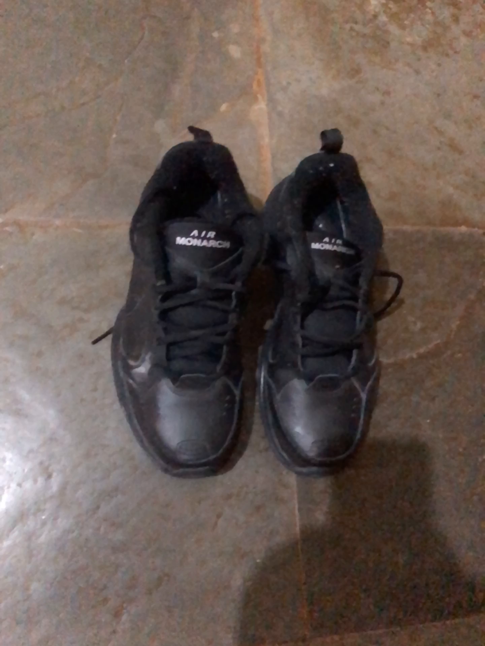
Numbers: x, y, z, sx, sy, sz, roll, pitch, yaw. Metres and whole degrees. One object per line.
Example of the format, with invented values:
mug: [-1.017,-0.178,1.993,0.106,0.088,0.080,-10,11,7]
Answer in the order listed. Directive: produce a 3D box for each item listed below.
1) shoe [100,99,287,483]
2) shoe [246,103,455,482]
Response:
shoe: [-0.047,-0.021,0.433,0.120,0.110,0.281,0,74,-12]
shoe: [0.078,-0.021,0.465,0.120,0.110,0.301,1,74,-11]
